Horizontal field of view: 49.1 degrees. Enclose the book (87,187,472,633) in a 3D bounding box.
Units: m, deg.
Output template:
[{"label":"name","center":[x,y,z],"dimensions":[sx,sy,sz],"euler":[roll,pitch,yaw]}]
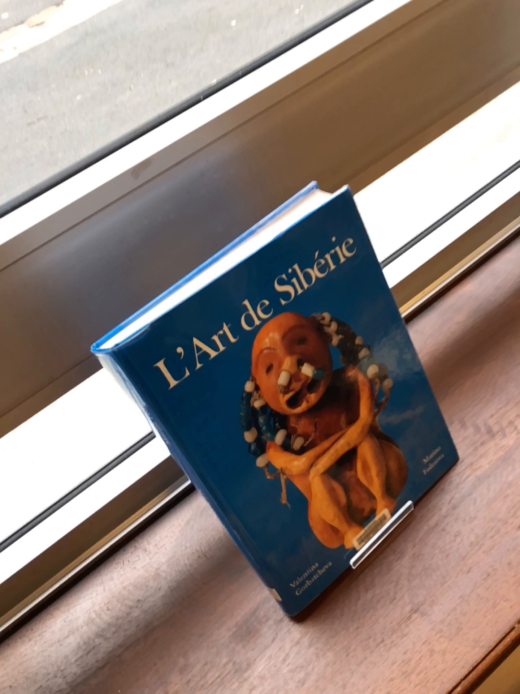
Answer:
[{"label":"book","center":[0.049,0.070,0.541],"dimensions":[0.254,0.349,0.044],"euler":[-37,27,-14]}]
